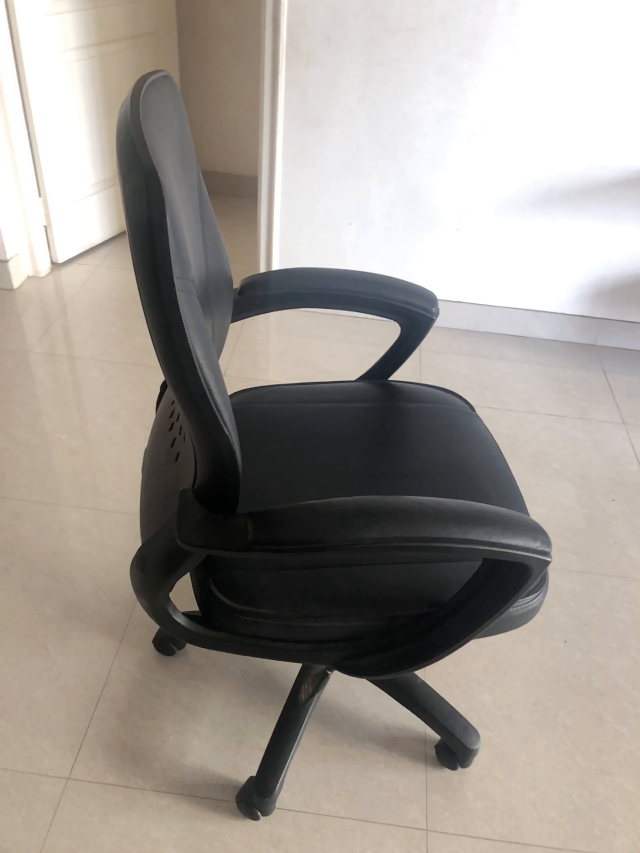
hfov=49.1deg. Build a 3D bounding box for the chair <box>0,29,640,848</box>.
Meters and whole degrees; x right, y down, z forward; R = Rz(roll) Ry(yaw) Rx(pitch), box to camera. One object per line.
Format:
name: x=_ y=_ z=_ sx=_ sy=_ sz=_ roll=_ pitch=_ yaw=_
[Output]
chair: x=0.036 y=0.032 z=1.045 sx=0.630 sy=0.953 sz=0.705 roll=1 pitch=38 yaw=-6
